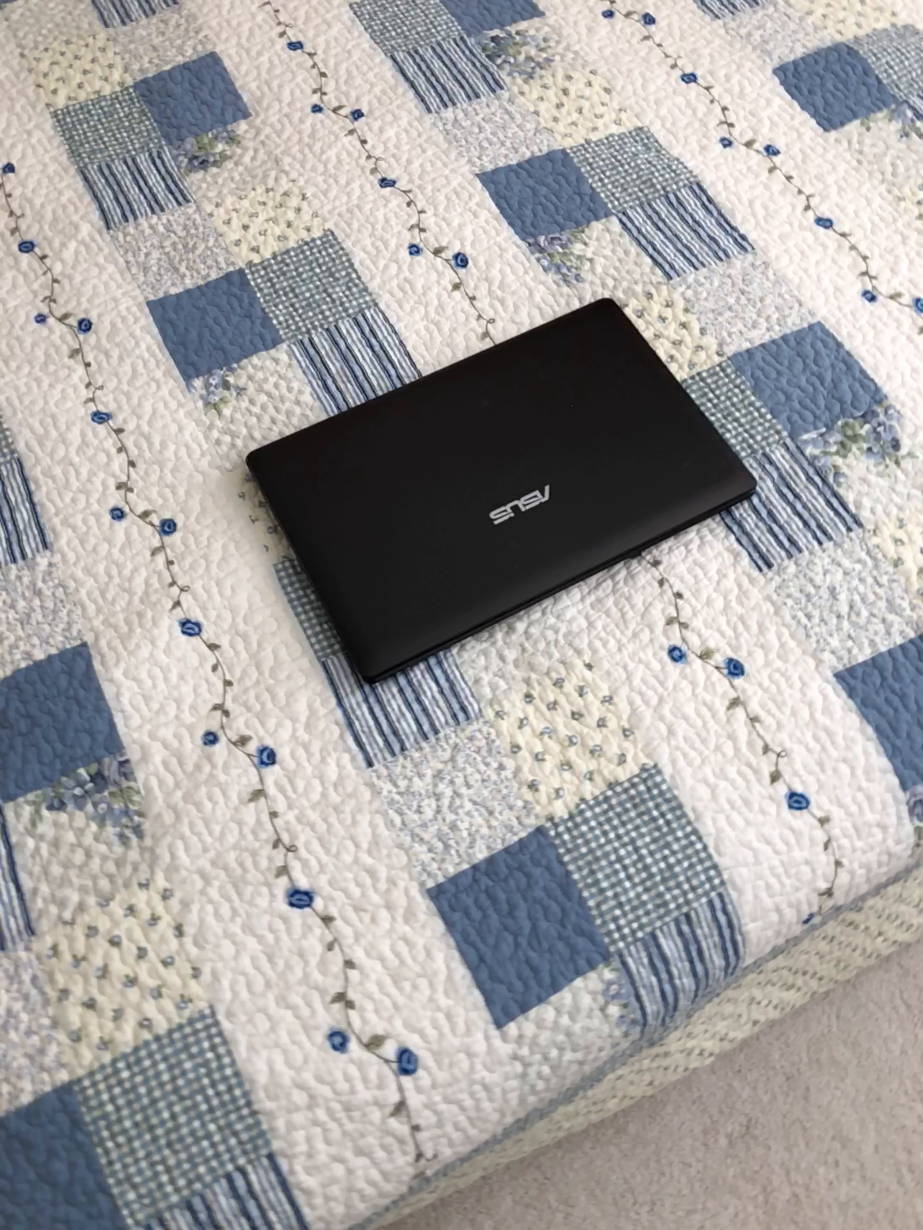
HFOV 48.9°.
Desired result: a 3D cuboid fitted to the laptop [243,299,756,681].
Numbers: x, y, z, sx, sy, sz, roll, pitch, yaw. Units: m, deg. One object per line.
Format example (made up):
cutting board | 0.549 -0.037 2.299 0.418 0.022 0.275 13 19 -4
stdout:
laptop | 0.030 -0.121 0.870 0.369 0.006 0.235 -26 67 -11
